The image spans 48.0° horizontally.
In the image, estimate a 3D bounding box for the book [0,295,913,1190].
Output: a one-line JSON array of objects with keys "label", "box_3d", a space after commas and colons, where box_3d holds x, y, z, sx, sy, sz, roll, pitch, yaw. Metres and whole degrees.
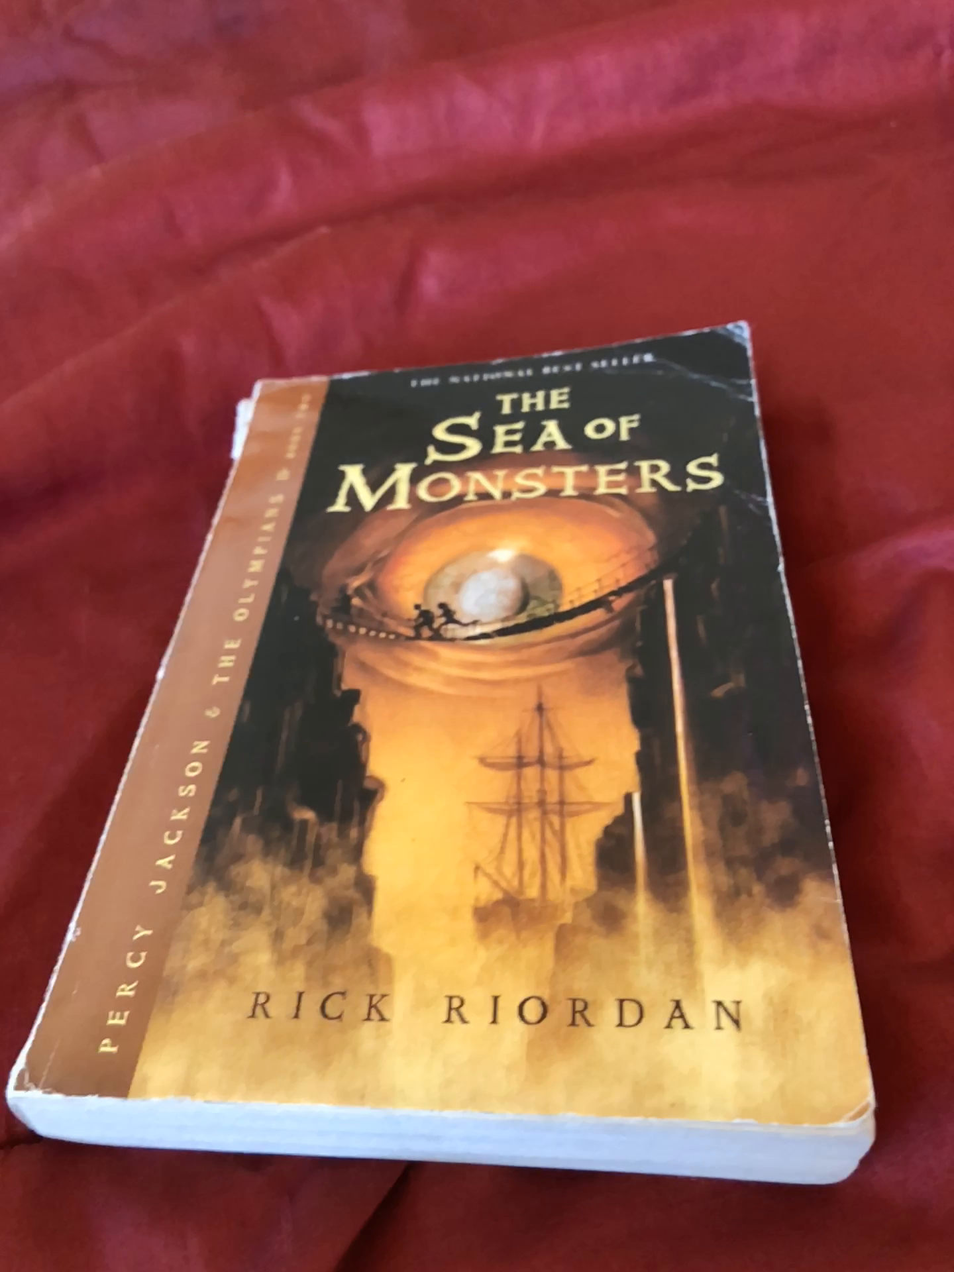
[{"label": "book", "box_3d": [-0.003, 0.003, 0.228, 0.144, 0.030, 0.198, -3, 49, 10]}]
